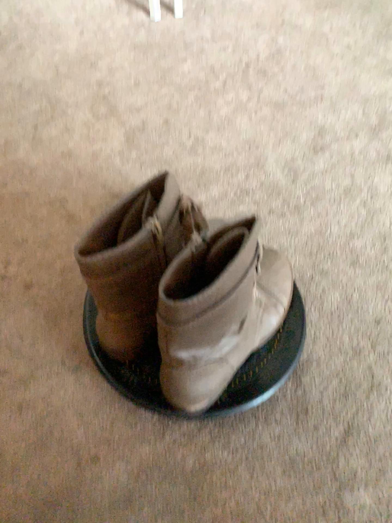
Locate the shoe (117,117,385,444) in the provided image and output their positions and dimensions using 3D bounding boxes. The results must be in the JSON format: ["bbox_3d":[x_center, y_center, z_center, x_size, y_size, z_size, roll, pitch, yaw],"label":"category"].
[{"bbox_3d":[0.061,0.019,0.419,0.100,0.198,0.272,31,59,19],"label":"shoe"}]

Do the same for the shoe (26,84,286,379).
[{"bbox_3d":[-0.024,-0.034,0.457,0.100,0.198,0.262,31,59,19],"label":"shoe"}]
